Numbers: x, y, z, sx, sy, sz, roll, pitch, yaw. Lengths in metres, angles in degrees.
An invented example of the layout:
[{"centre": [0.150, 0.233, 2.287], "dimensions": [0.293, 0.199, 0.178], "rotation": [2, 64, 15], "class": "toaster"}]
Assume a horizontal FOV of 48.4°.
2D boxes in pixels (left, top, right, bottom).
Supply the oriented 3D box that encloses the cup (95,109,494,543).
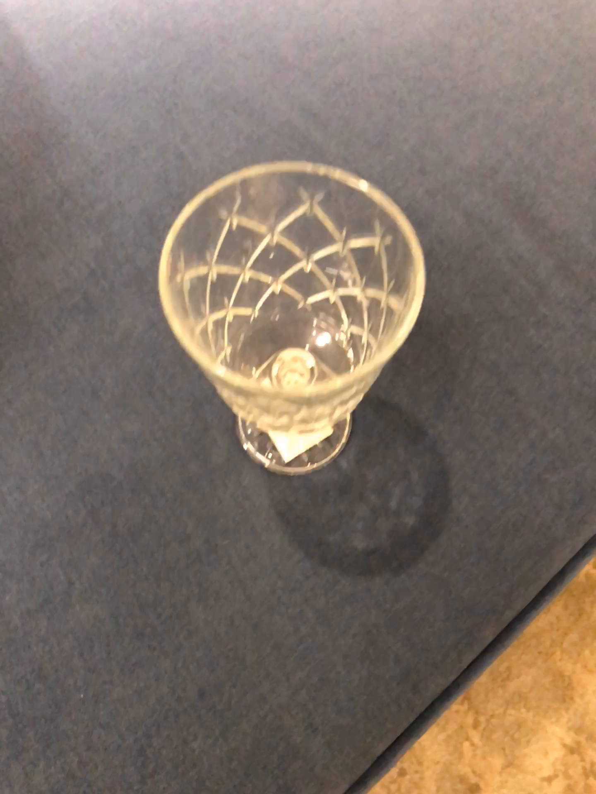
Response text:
[{"centre": [-0.001, -0.016, 0.272], "dimensions": [0.090, 0.140, 0.090], "rotation": [1, 67, -1], "class": "cup"}]
